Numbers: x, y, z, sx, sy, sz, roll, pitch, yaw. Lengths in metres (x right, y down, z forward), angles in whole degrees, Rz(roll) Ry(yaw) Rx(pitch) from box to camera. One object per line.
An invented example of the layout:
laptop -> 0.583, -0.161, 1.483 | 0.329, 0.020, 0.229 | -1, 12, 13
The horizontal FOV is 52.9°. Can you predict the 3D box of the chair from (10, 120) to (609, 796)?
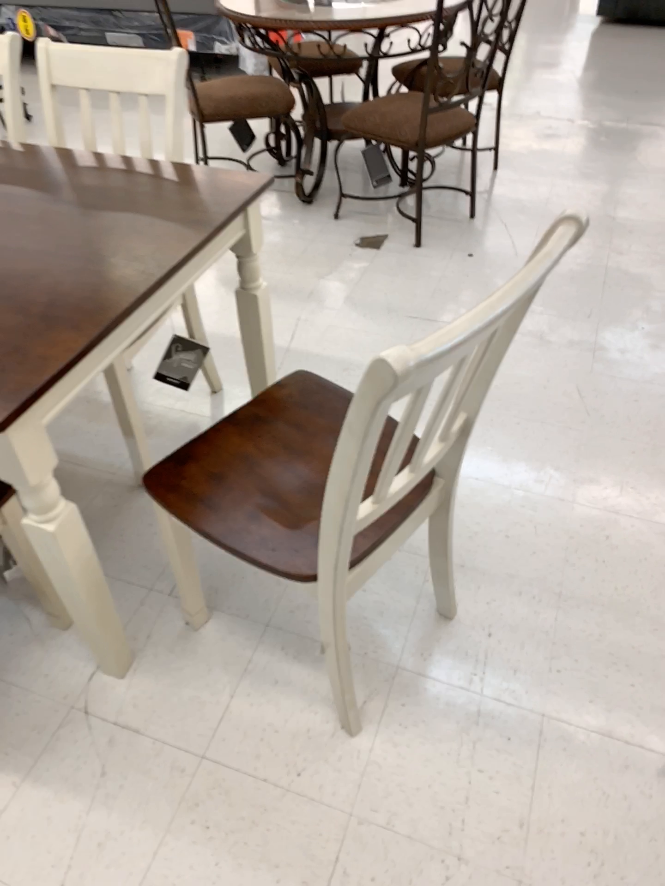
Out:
chair -> -0.012, 0.036, 1.174 | 0.571, 0.906, 0.531 | 28, 50, 28
